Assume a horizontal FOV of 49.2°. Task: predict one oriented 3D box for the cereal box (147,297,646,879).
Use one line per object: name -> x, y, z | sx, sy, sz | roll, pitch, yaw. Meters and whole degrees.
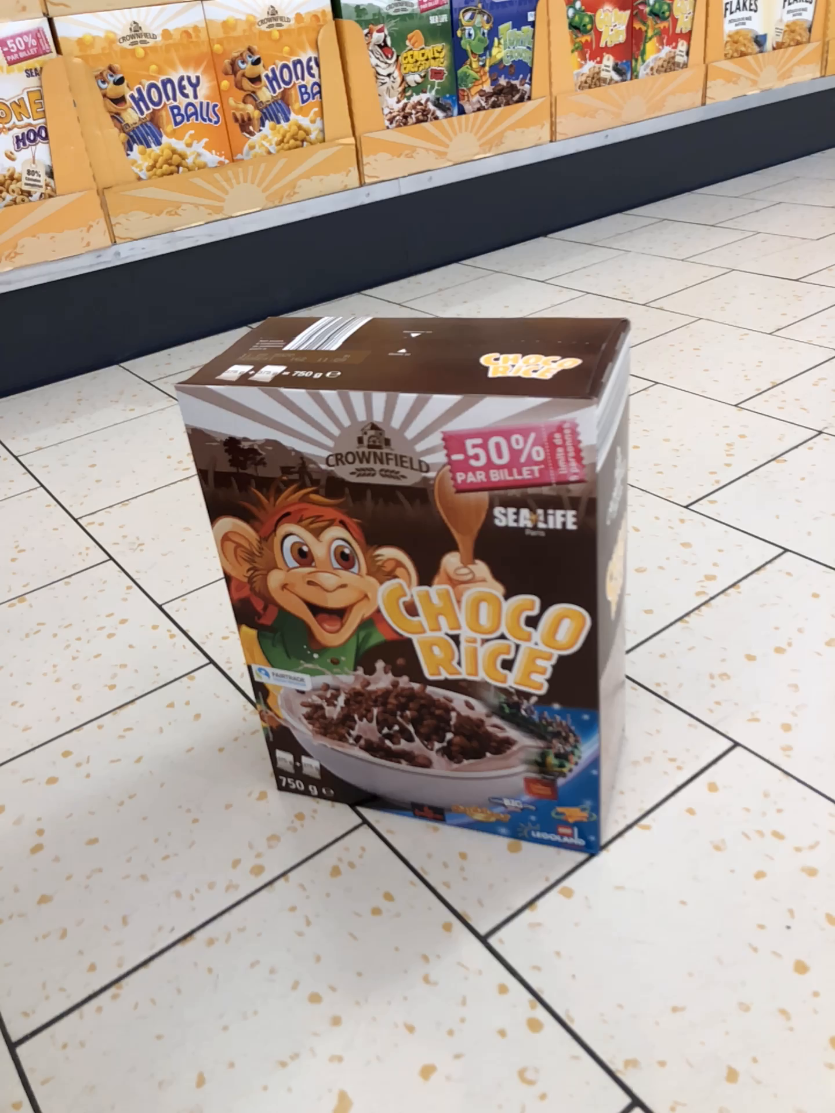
cereal box -> 0.006, 0.014, 0.473 | 0.200, 0.268, 0.101 | 6, 33, 20
